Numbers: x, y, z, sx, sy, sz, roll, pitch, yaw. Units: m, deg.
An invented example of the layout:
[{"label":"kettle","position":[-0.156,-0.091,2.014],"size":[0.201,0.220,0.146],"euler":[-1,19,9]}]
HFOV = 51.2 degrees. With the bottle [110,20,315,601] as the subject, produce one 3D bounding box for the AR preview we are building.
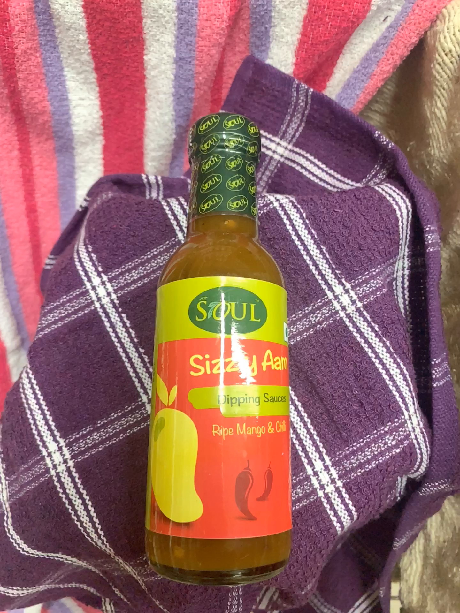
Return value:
[{"label":"bottle","position":[-0.001,-0.006,0.192],"size":[0.060,0.060,0.200],"euler":[-1,76,6]}]
